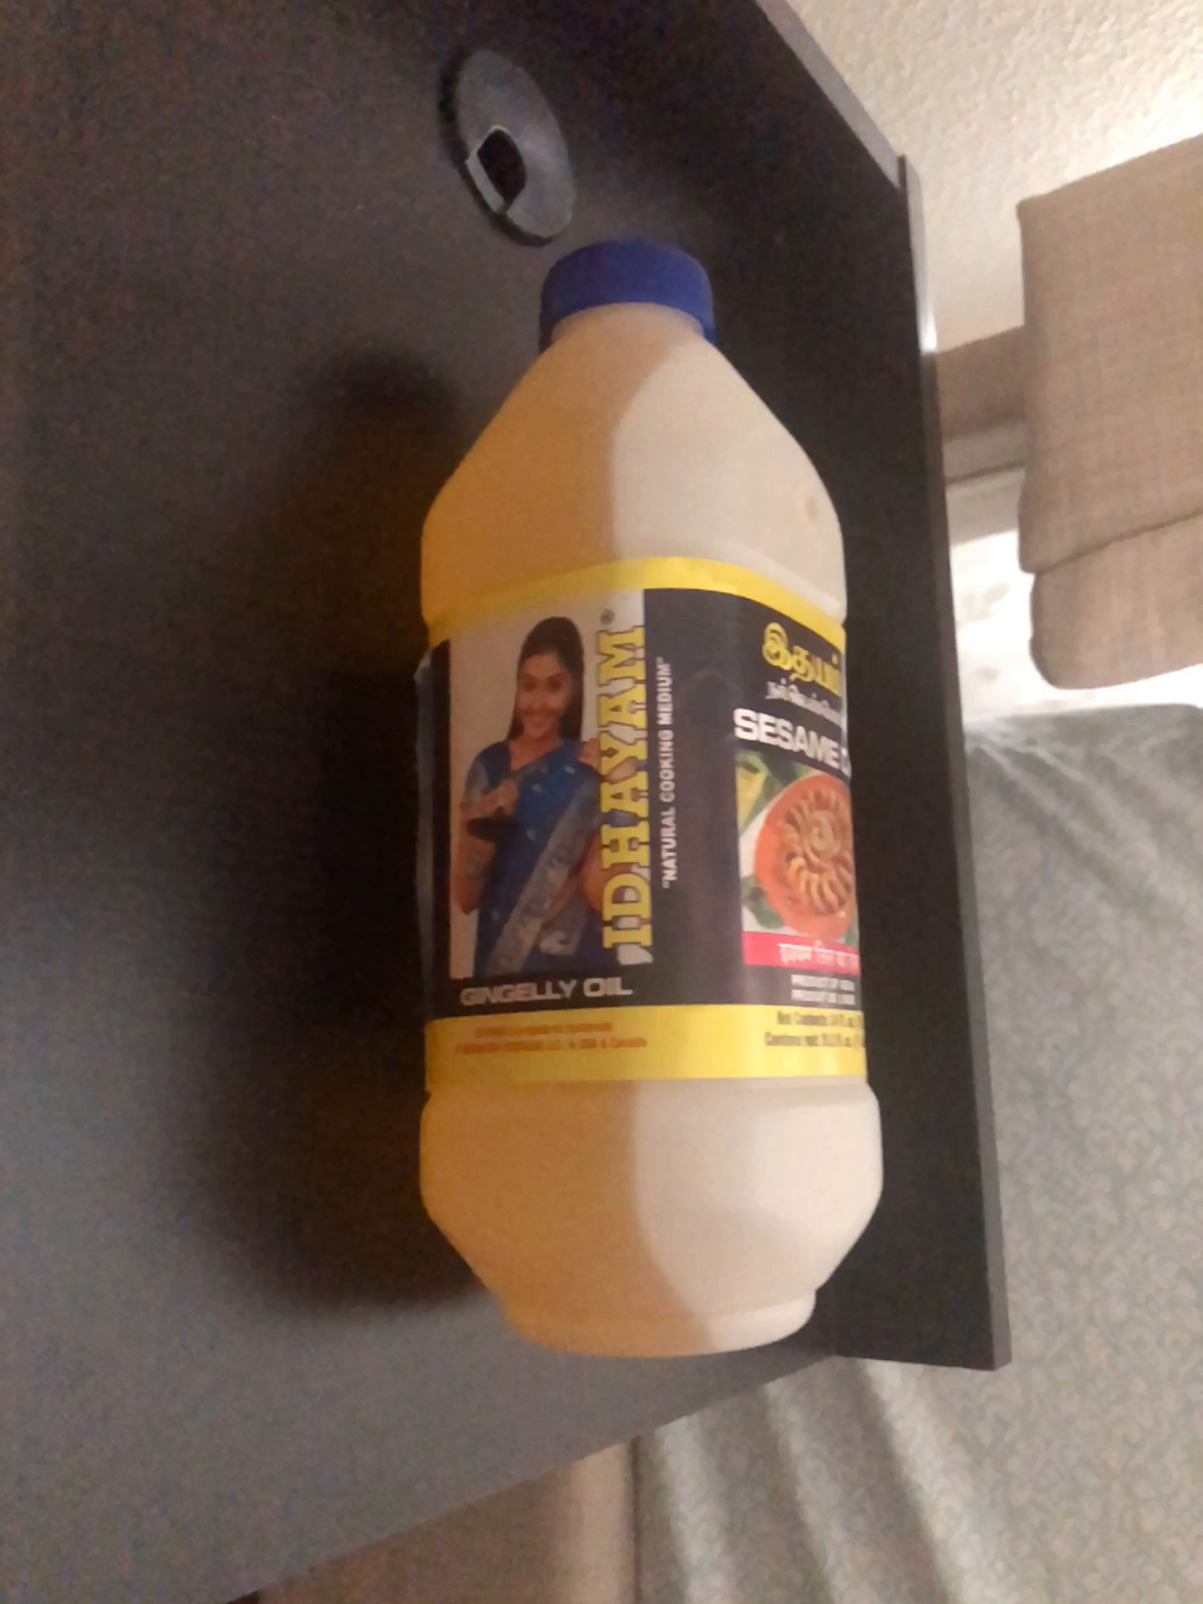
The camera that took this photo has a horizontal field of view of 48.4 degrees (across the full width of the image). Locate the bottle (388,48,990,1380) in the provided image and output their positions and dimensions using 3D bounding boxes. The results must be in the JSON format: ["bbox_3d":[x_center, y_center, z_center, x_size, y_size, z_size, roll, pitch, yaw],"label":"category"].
[{"bbox_3d":[0.019,-0.015,0.303,0.091,0.089,0.250,16,69,-53],"label":"bottle"}]
